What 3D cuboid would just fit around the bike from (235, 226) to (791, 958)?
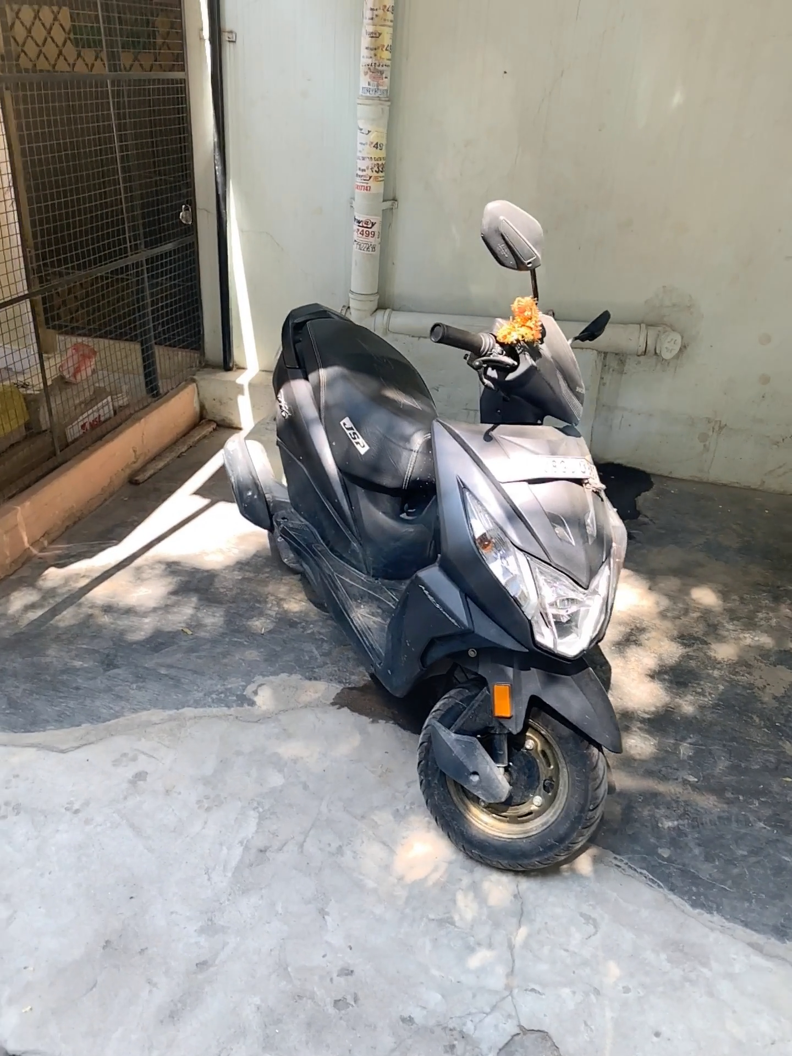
[{"bbox_3d":[0.106,0.024,2.214,0.503,1.277,1.515,-13,35,-28],"label":"bike"}]
